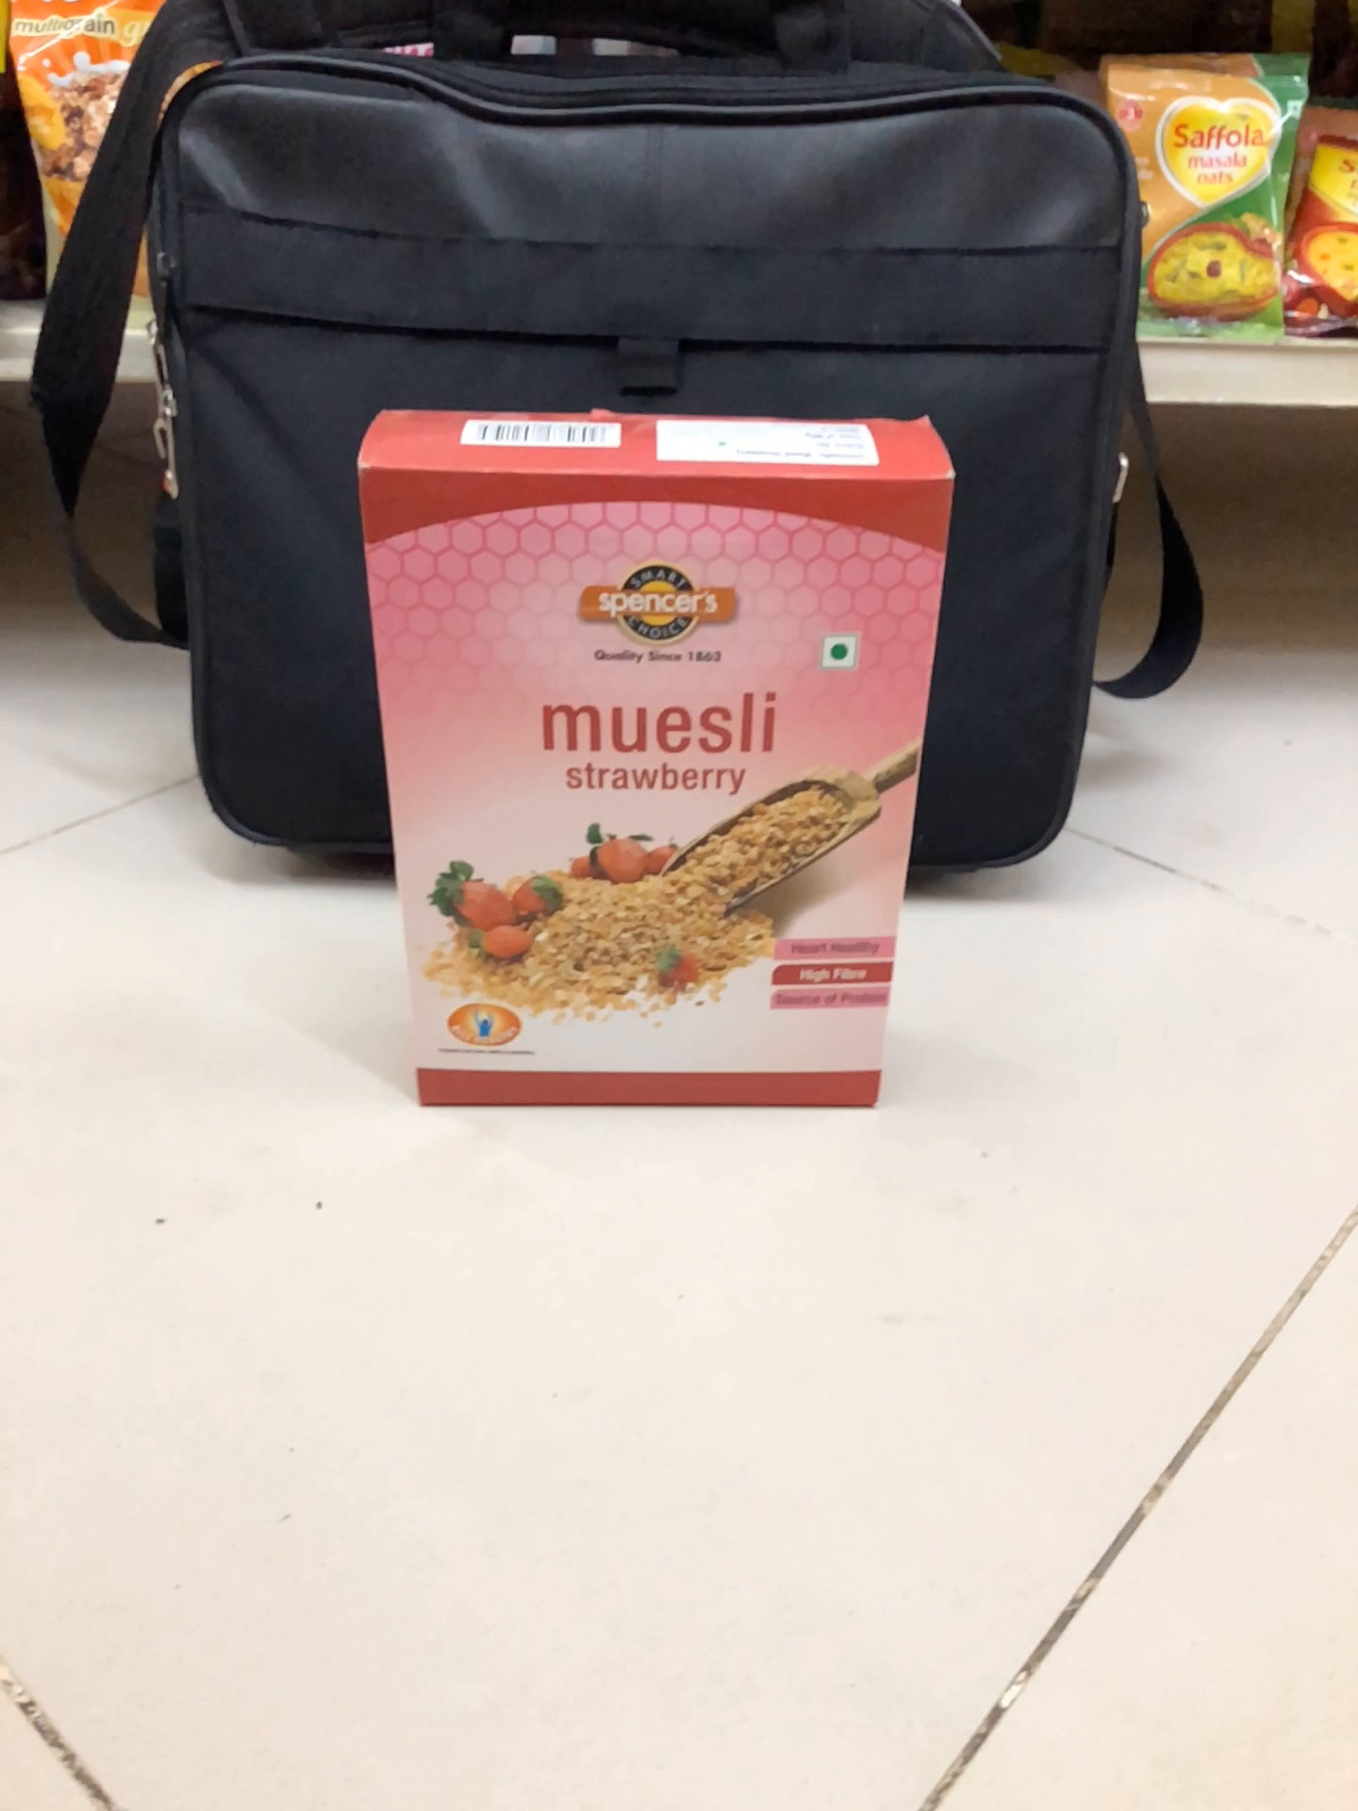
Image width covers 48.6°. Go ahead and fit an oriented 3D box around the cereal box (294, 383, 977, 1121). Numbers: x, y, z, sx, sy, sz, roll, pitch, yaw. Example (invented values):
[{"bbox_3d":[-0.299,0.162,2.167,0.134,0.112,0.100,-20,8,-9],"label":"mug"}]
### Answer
[{"bbox_3d":[-0.014,-0.044,0.534,0.200,0.258,0.060,0,32,-1],"label":"cereal box"}]
